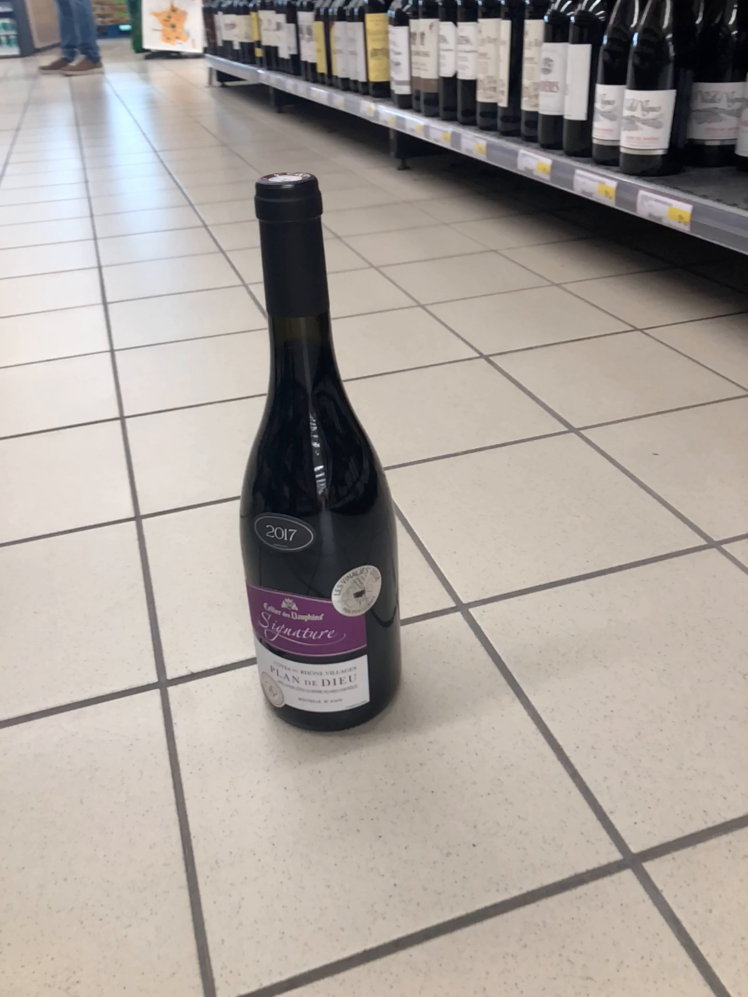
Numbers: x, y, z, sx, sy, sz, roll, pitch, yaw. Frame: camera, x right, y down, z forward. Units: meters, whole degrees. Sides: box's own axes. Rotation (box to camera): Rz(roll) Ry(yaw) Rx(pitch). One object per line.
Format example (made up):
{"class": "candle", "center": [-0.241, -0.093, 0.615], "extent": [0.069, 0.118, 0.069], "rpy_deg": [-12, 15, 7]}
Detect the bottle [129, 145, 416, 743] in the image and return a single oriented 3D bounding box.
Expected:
{"class": "bottle", "center": [-0.035, -0.019, 0.422], "extent": [0.090, 0.288, 0.091], "rpy_deg": [-2, 30, 1]}
